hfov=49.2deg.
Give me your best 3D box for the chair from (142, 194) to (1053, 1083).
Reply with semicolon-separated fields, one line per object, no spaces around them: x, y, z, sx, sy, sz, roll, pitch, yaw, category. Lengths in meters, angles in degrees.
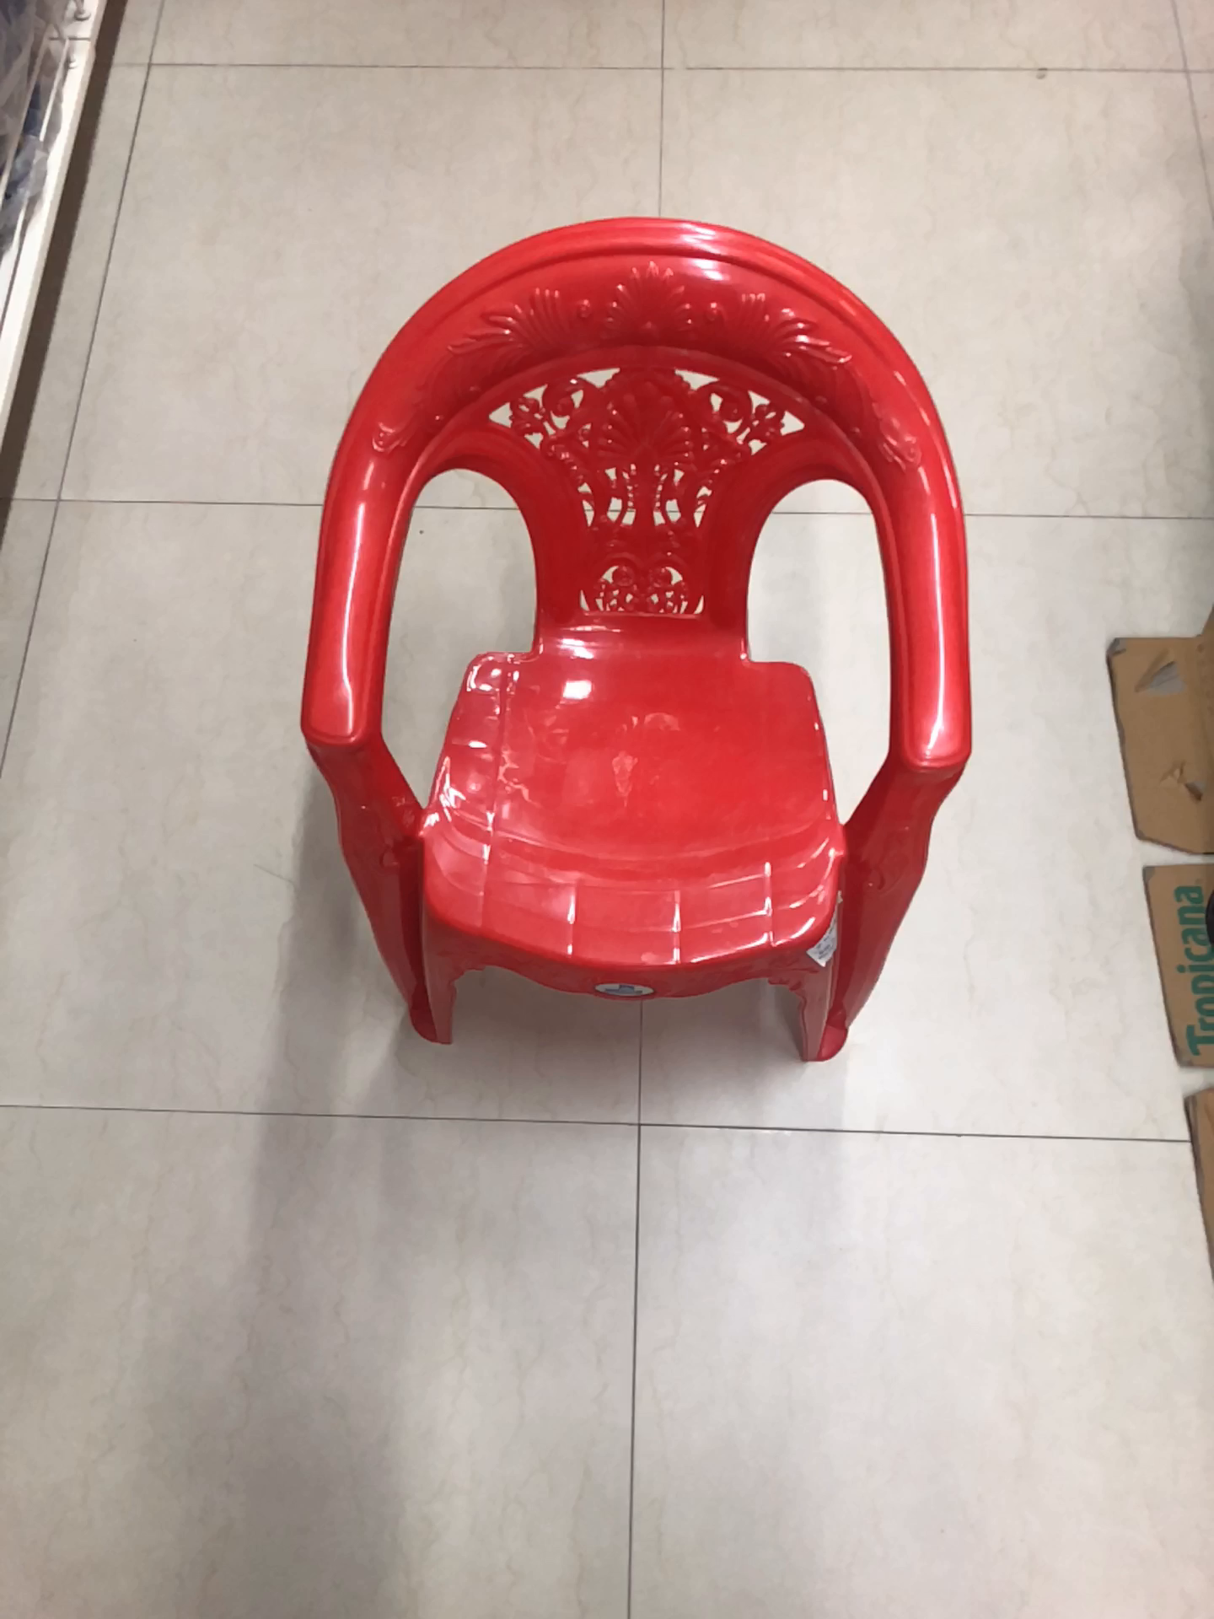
0.008;-0.058;0.872;0.390;0.509;0.371;2;69;2;chair
